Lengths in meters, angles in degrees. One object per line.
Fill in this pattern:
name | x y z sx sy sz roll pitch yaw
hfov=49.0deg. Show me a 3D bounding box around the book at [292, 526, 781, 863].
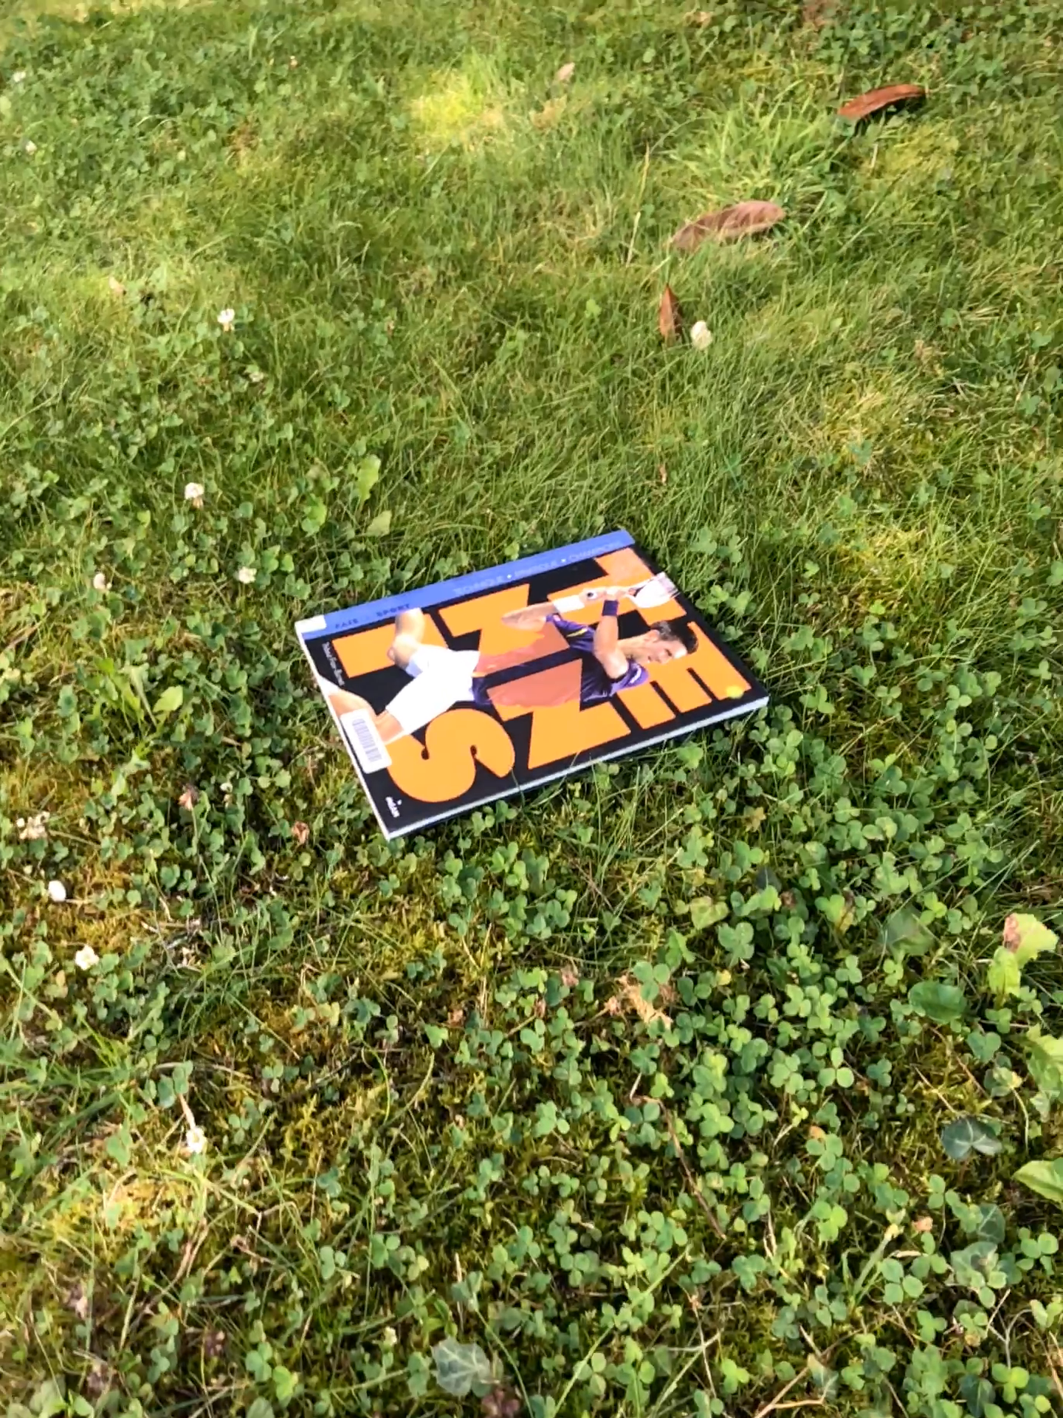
book | -0.004 -0.023 0.719 0.241 0.016 0.199 -18 47 -15
